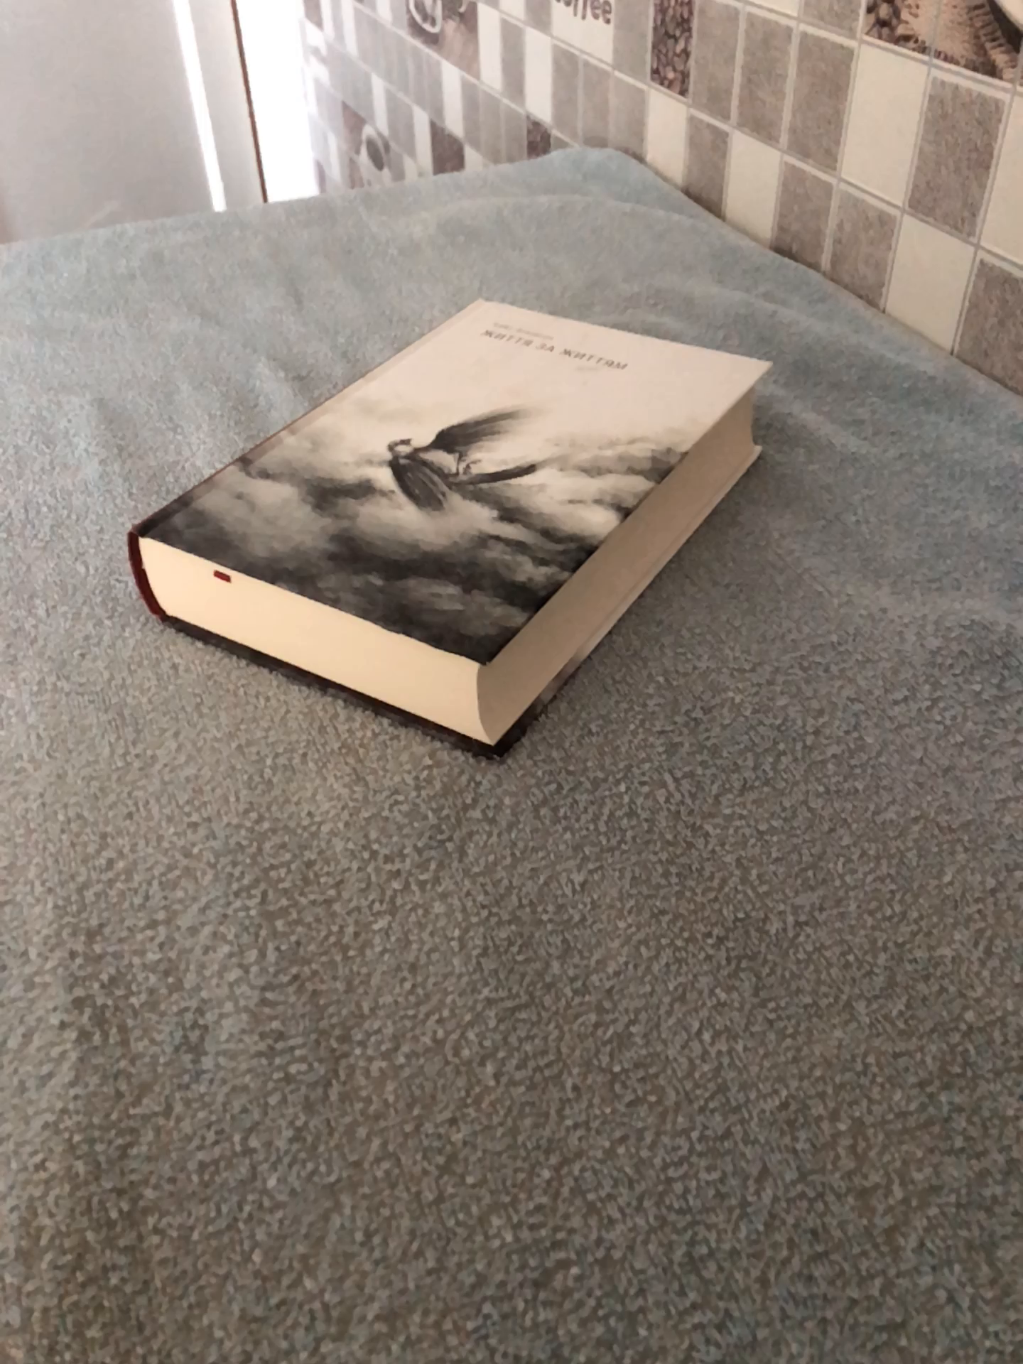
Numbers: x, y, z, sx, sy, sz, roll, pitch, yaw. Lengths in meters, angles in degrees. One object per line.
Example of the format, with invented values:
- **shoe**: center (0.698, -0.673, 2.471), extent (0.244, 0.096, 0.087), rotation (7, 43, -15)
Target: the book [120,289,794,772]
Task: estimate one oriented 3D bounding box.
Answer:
- **book**: center (-0.009, -0.077, 0.432), extent (0.156, 0.040, 0.221), rotation (21, 47, 24)
